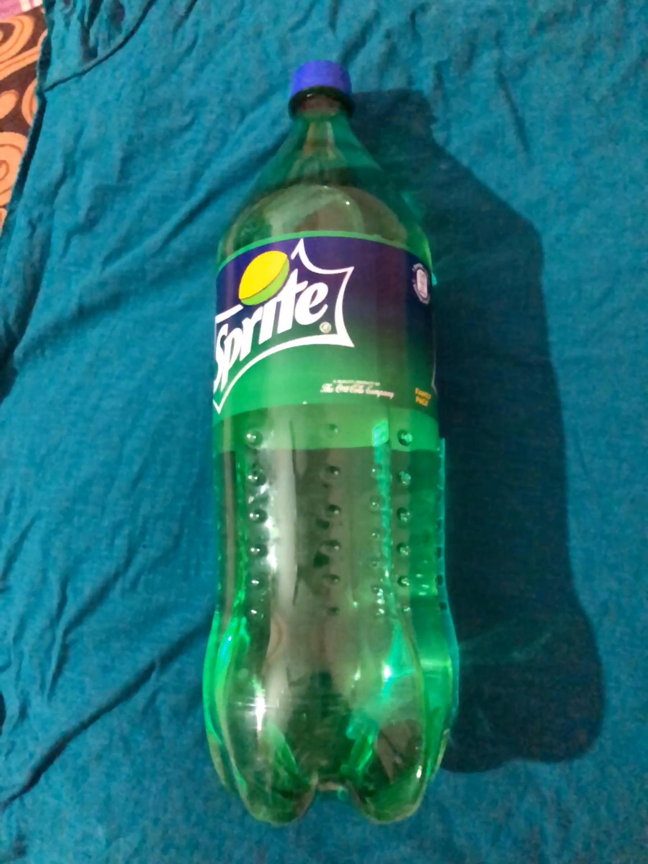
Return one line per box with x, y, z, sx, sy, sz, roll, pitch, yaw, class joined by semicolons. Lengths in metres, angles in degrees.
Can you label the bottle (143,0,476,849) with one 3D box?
-0.008;-0.021;0.307;0.110;0.070;0.330;-6;79;23;bottle
